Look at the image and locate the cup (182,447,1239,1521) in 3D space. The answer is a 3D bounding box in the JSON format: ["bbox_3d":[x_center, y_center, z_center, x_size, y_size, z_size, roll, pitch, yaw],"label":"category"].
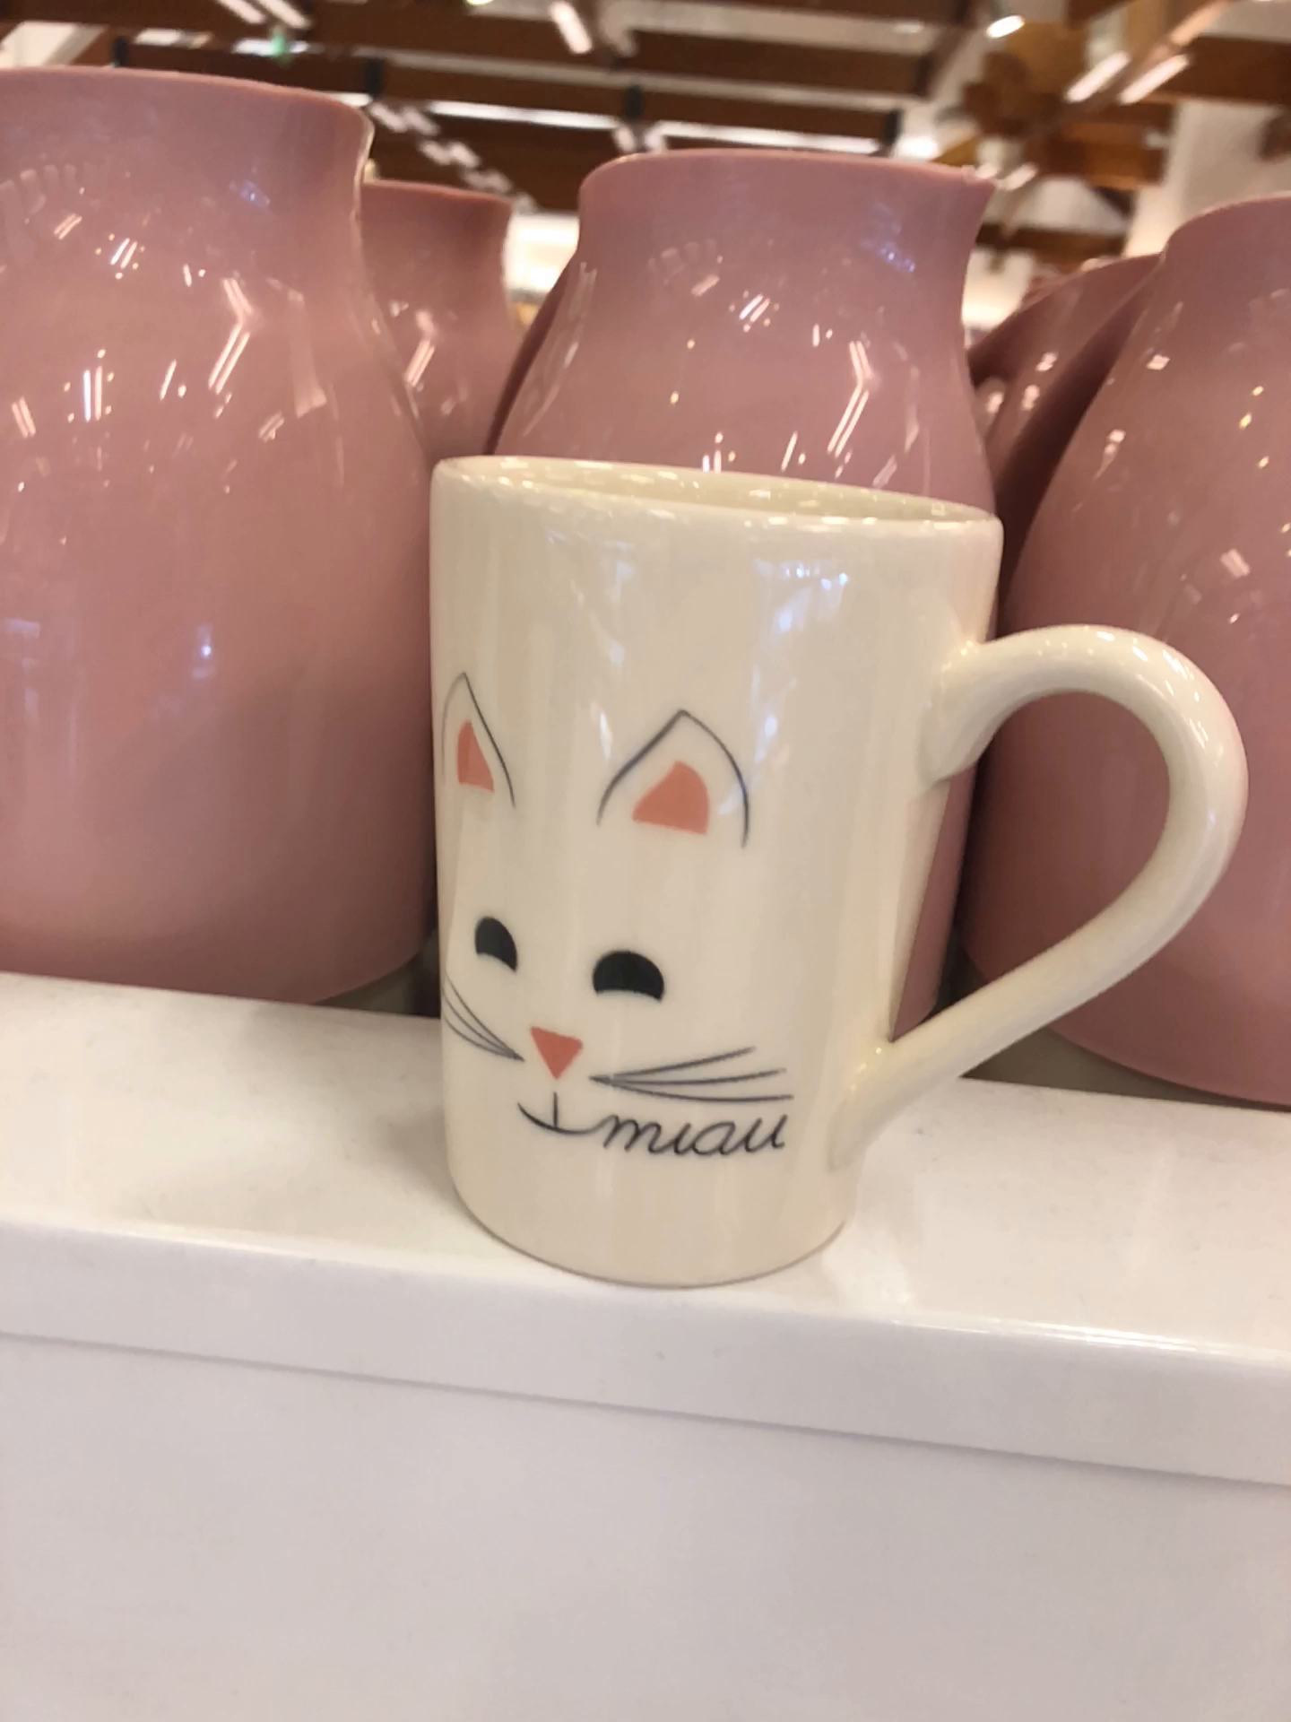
[{"bbox_3d":[0.010,0.002,0.193,0.110,0.099,0.080,11,19,18],"label":"cup"}]
